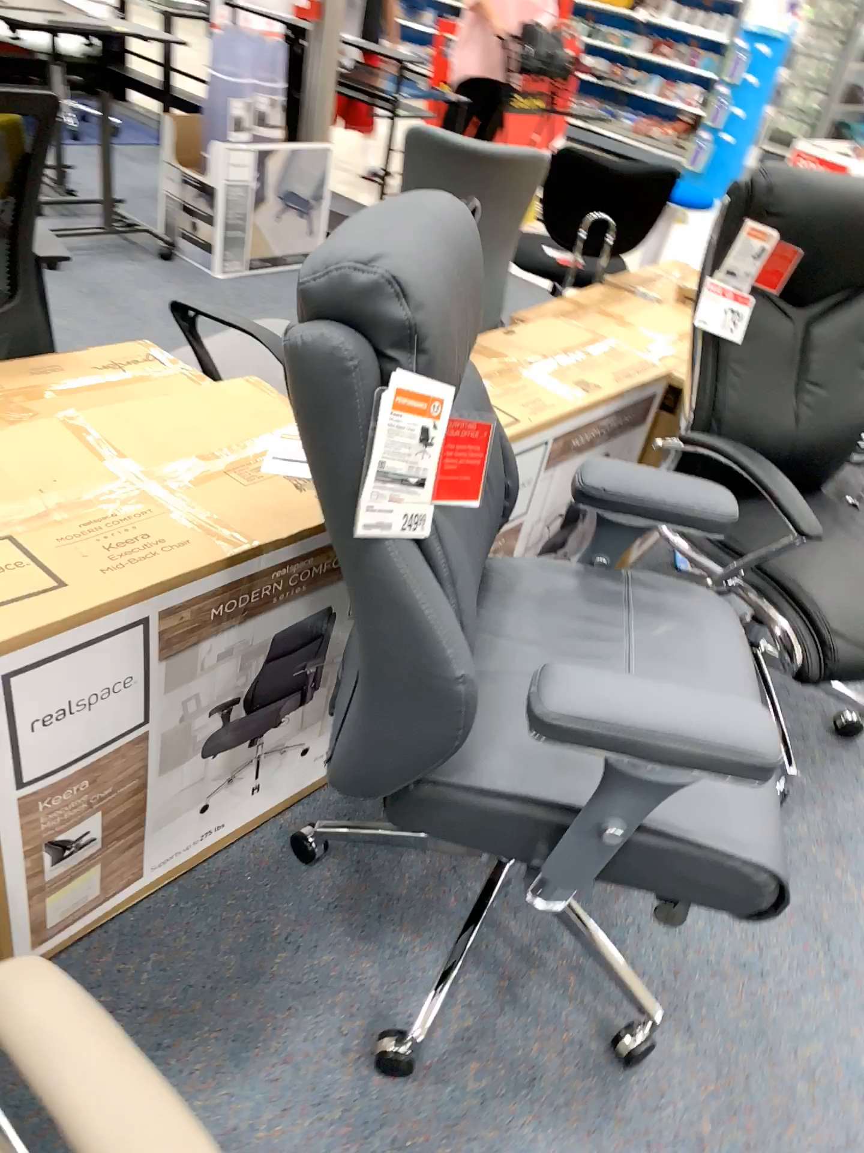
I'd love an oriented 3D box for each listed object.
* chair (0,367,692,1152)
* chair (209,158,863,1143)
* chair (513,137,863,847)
[{"bbox_3d":[-0.528,0.553,0.463,0.715,0.976,0.787,35,40,28],"label":"chair"},{"bbox_3d":[0.166,0.097,1.256,0.694,1.076,0.698,12,31,-2],"label":"chair"},{"bbox_3d":[0.812,-0.183,1.842,0.766,1.095,0.787,-6,39,-26],"label":"chair"}]
